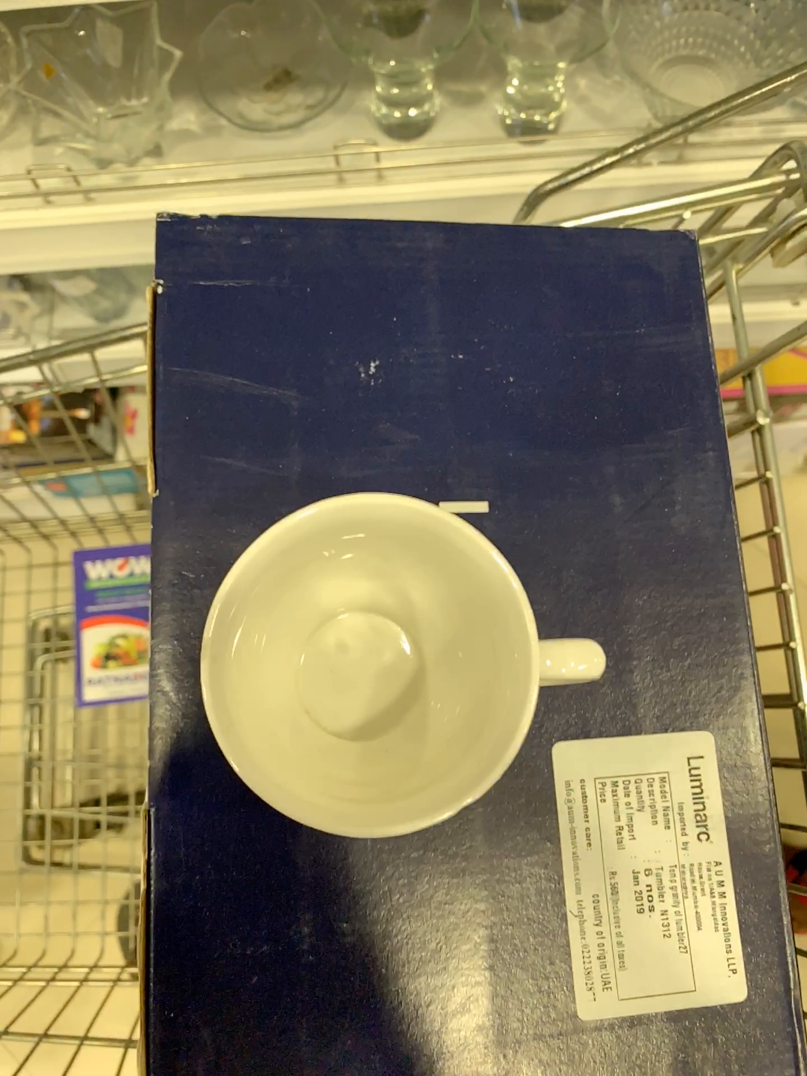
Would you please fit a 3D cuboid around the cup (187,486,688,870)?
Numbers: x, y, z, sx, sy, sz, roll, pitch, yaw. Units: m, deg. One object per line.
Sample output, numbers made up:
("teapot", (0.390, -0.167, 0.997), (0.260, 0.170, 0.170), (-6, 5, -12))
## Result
("cup", (0.006, 0.028, 0.177), (0.090, 0.040, 0.070), (0, 78, -3))
